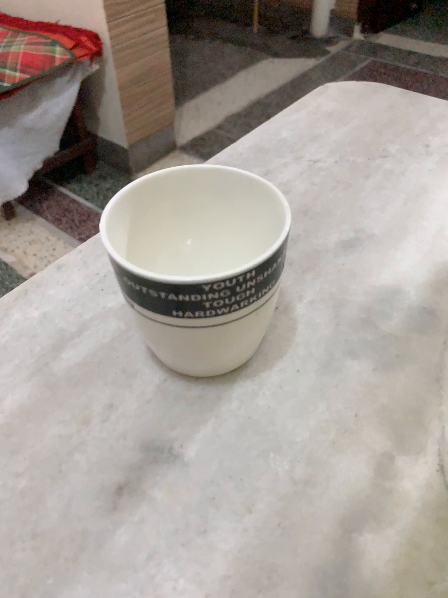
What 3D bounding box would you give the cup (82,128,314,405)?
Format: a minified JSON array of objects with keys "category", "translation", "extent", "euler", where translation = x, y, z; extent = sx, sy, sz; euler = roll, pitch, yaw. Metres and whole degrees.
[{"category":"cup","translation":[-0.014,-0.017,0.191],"extent":[0.070,0.060,0.090],"euler":[-8,47,-5]}]
